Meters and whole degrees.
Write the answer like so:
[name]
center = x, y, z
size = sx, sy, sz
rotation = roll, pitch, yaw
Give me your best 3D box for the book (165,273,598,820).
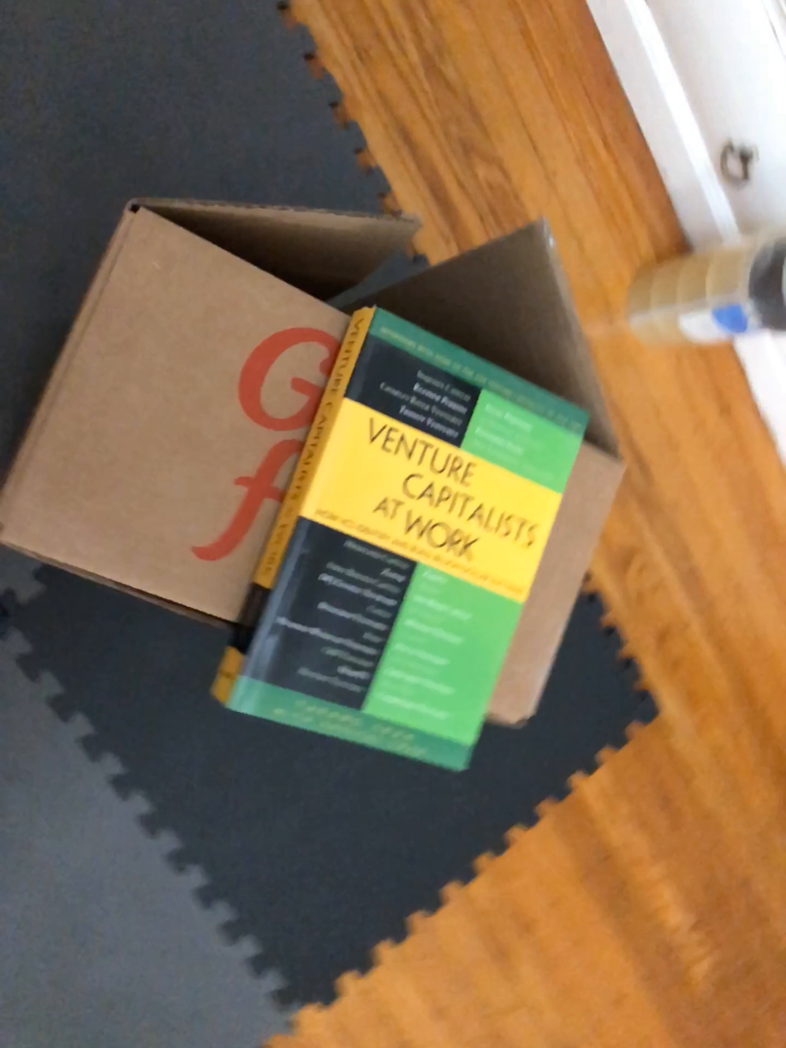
[book]
center = -0.002, 0.018, 0.490
size = 0.160, 0.040, 0.260
rotation = 22, 86, -22
